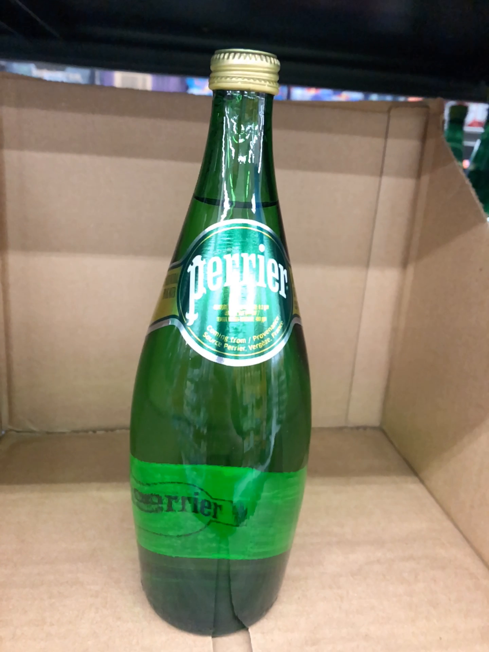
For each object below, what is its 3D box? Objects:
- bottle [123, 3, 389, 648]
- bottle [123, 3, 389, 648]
[{"bbox_3d":[-0.009,0.012,0.261,0.090,0.268,0.080,1,18,-8],"label":"bottle"},{"bbox_3d":[-0.009,0.012,0.261,0.090,0.268,0.080,1,18,-8],"label":"bottle"}]
